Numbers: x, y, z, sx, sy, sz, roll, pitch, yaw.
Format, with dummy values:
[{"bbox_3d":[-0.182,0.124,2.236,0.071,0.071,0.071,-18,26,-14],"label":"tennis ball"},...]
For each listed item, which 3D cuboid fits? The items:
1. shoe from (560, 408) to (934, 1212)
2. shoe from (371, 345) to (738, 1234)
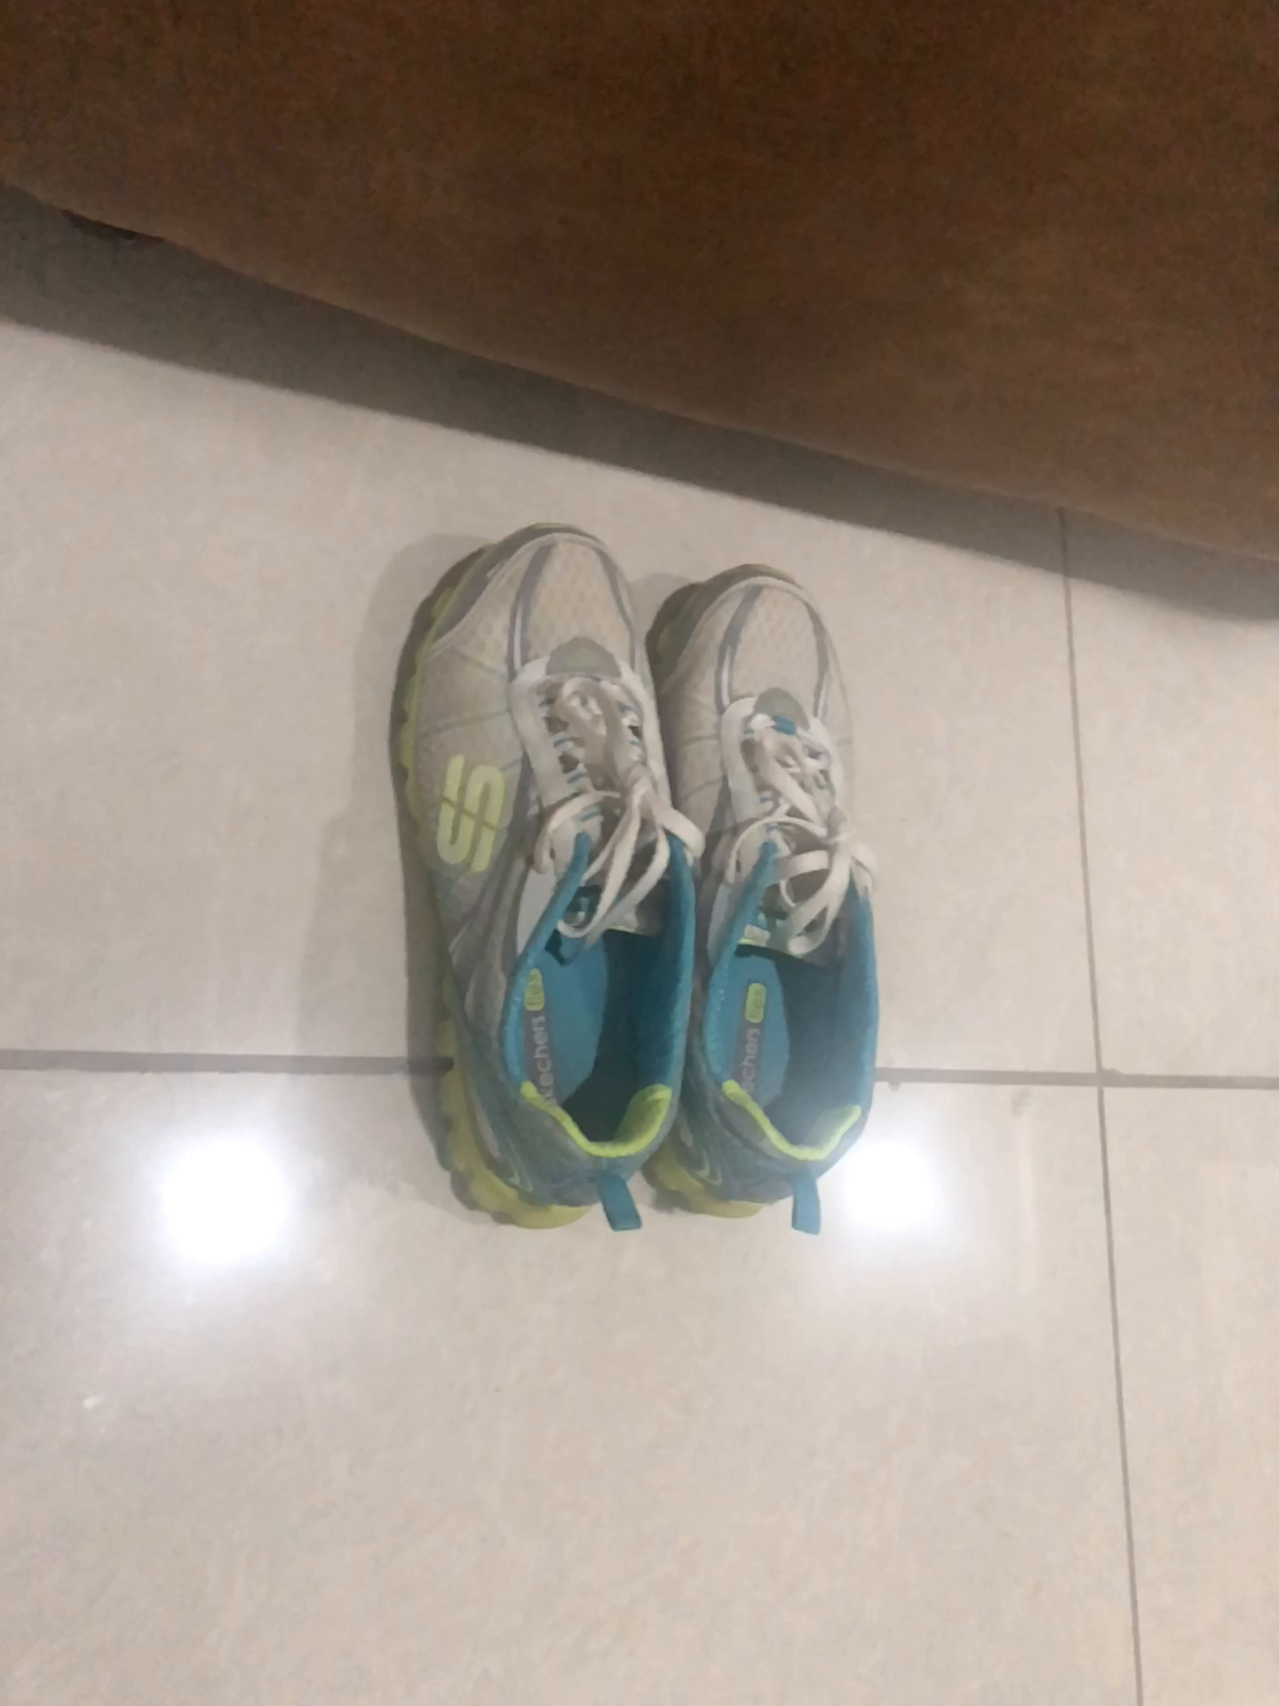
[{"bbox_3d":[0.046,-0.010,0.584,0.110,0.100,0.300,9,76,-24],"label":"shoe"},{"bbox_3d":[-0.036,-0.017,0.530,0.100,0.100,0.300,4,78,-25],"label":"shoe"}]
